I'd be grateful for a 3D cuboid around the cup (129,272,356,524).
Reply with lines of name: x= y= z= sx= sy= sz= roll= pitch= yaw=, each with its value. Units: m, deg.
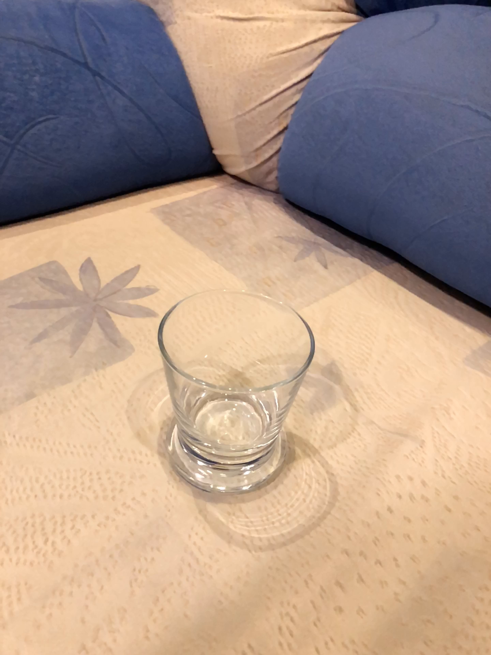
cup: x=-0.006 y=0.035 z=0.305 sx=0.087 sy=0.083 sz=0.085 roll=3 pitch=37 yaw=-2
